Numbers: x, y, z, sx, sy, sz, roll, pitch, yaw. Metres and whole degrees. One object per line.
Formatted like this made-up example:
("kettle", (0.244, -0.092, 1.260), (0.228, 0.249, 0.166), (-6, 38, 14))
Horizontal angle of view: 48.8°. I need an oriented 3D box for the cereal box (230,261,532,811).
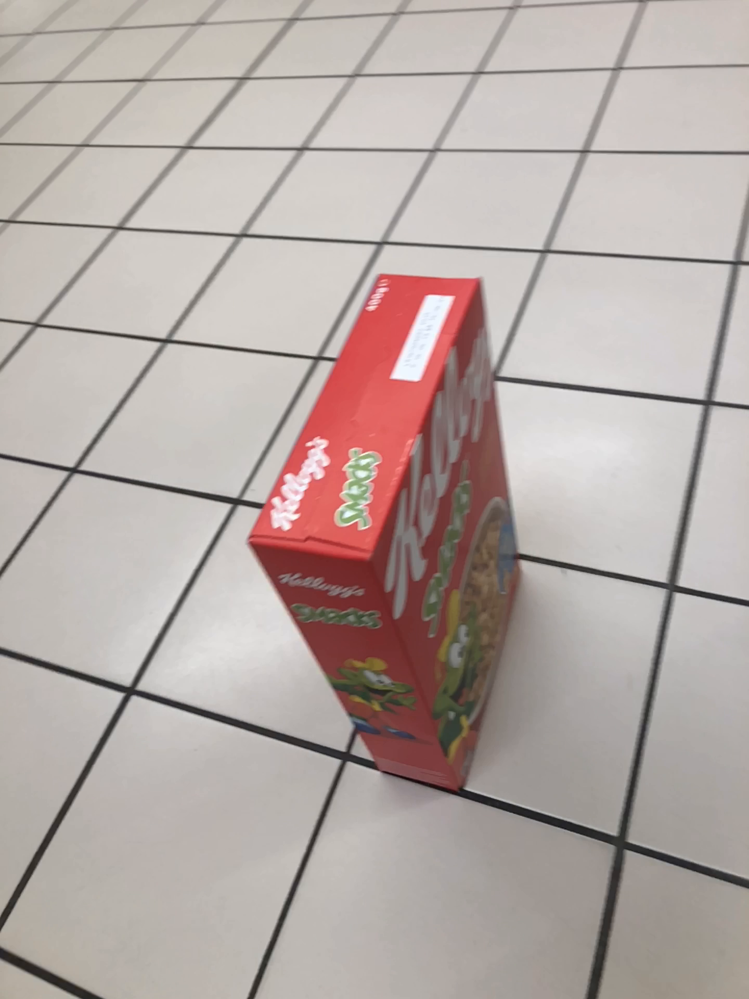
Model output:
("cereal box", (0.033, 0.038, 0.518), (0.080, 0.298, 0.201), (8, 55, 19))
